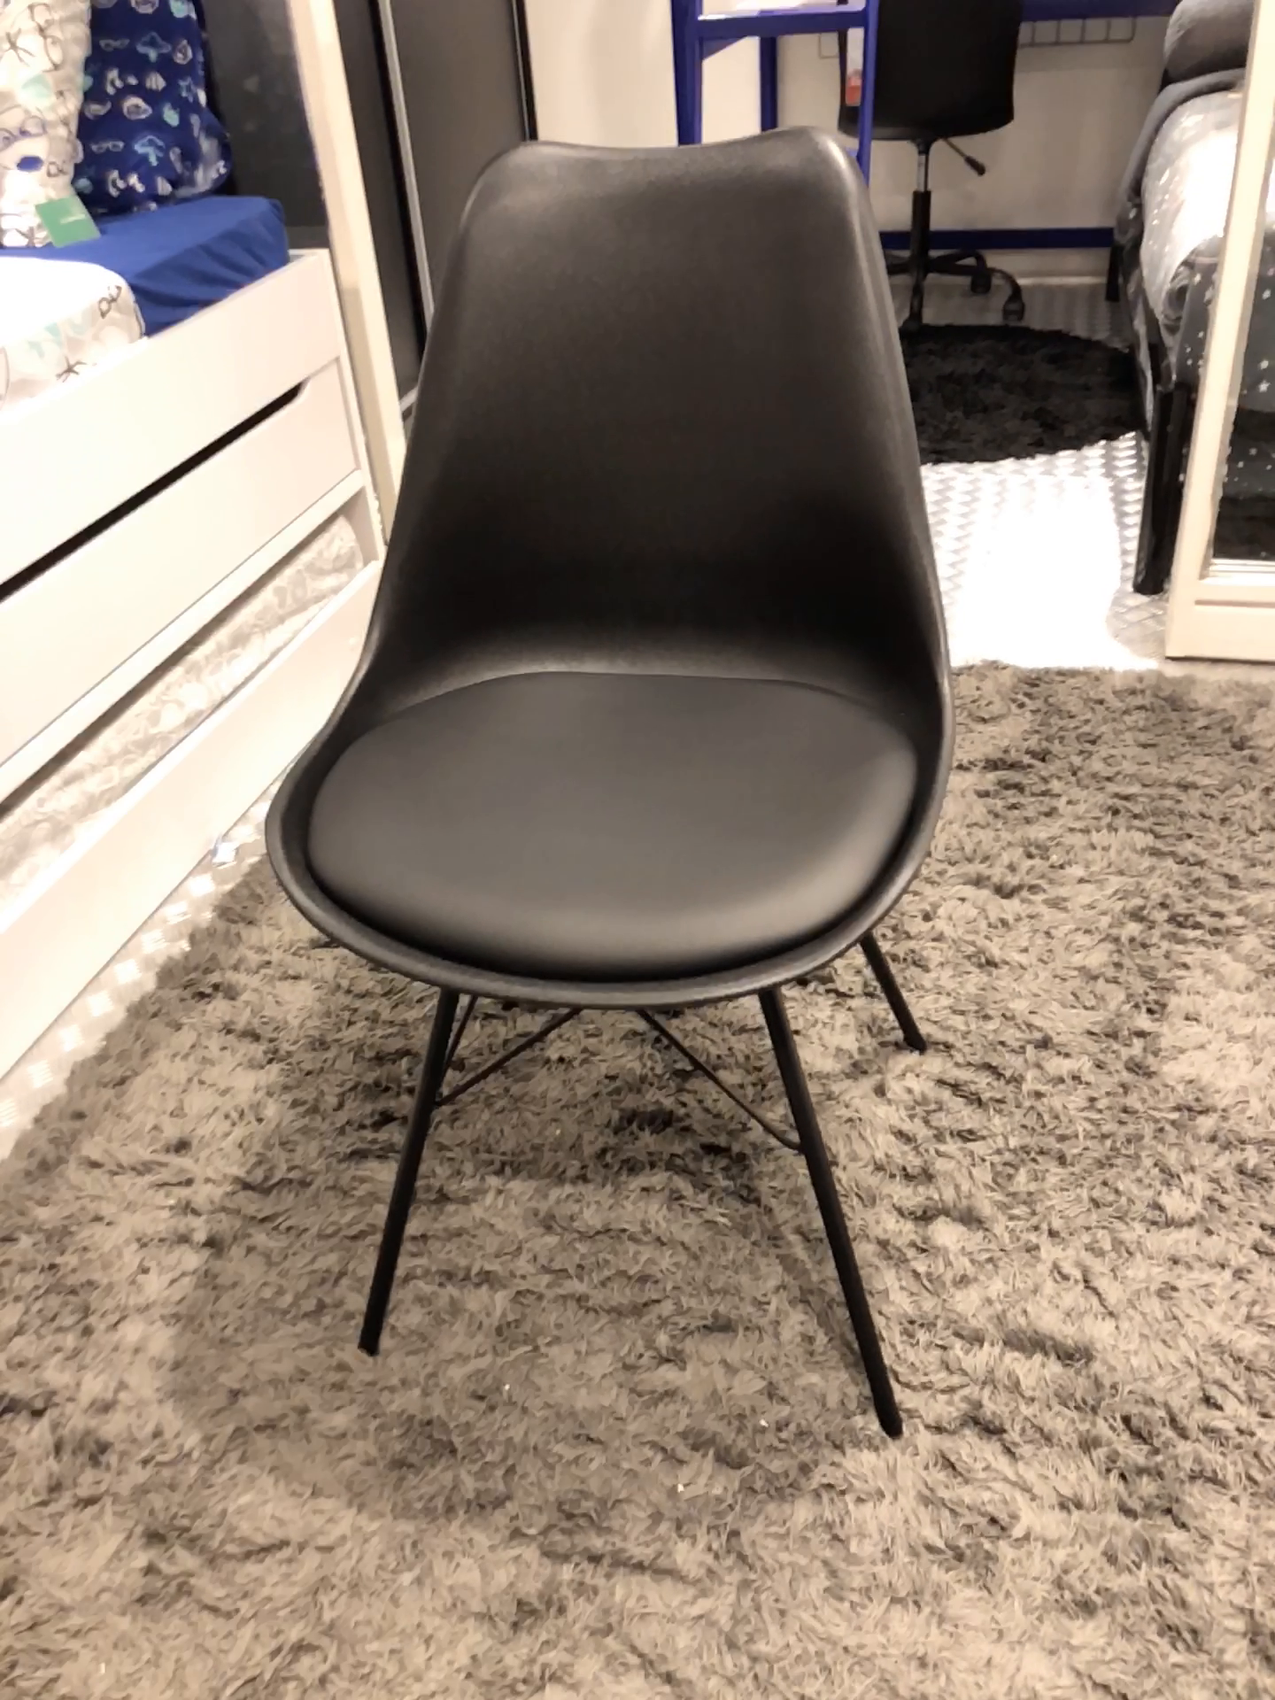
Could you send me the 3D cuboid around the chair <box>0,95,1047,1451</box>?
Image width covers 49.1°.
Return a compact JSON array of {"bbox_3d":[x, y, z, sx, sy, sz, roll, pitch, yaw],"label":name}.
[{"bbox_3d":[-0.002,-0.072,1.059,0.520,0.804,0.534,5,35,15],"label":"chair"}]
